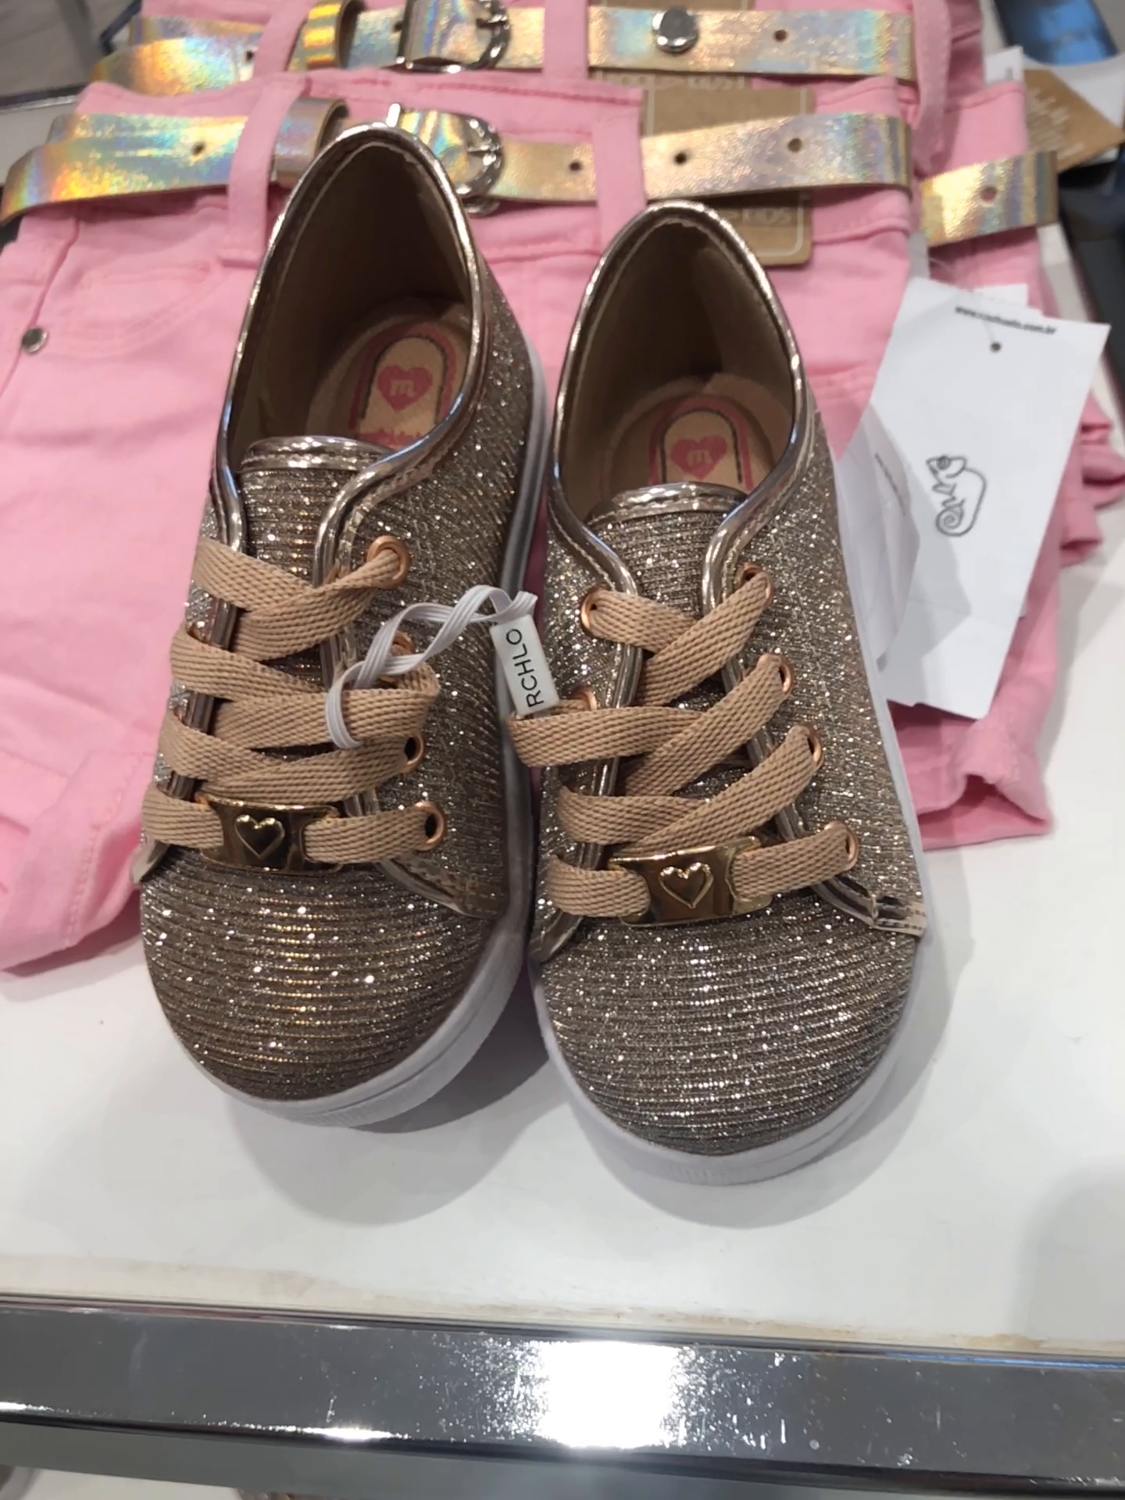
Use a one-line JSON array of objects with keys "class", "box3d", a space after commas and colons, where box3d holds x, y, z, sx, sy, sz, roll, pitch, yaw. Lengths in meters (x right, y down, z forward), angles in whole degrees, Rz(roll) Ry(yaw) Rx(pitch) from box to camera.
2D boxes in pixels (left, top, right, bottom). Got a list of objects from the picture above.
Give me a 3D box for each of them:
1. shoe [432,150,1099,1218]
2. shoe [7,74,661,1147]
[{"class": "shoe", "box3d": [0.025, -0.015, 0.232, 0.080, 0.080, 0.171, -7, 58, 6]}, {"class": "shoe", "box3d": [-0.027, -0.021, 0.231, 0.070, 0.080, 0.171, 0, 70, 13]}]
